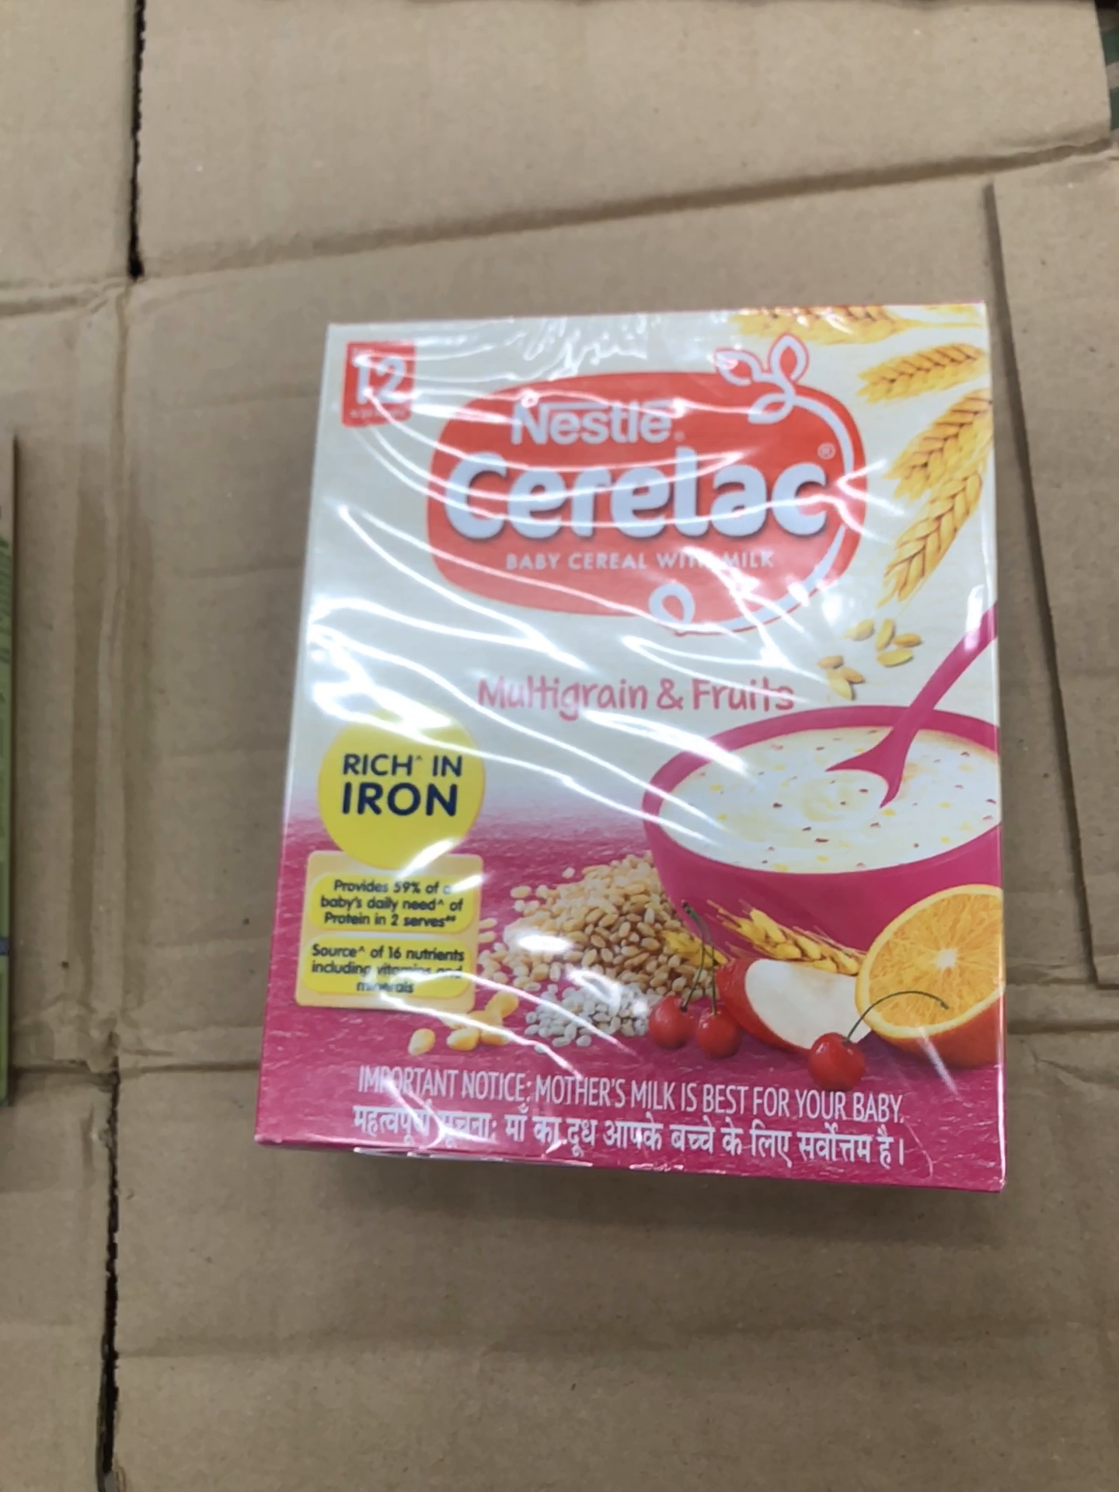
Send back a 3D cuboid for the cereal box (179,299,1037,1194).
[{"bbox_3d":[0.011,-0.001,0.271,0.160,0.050,0.170,0,80,9],"label":"cereal box"}]
